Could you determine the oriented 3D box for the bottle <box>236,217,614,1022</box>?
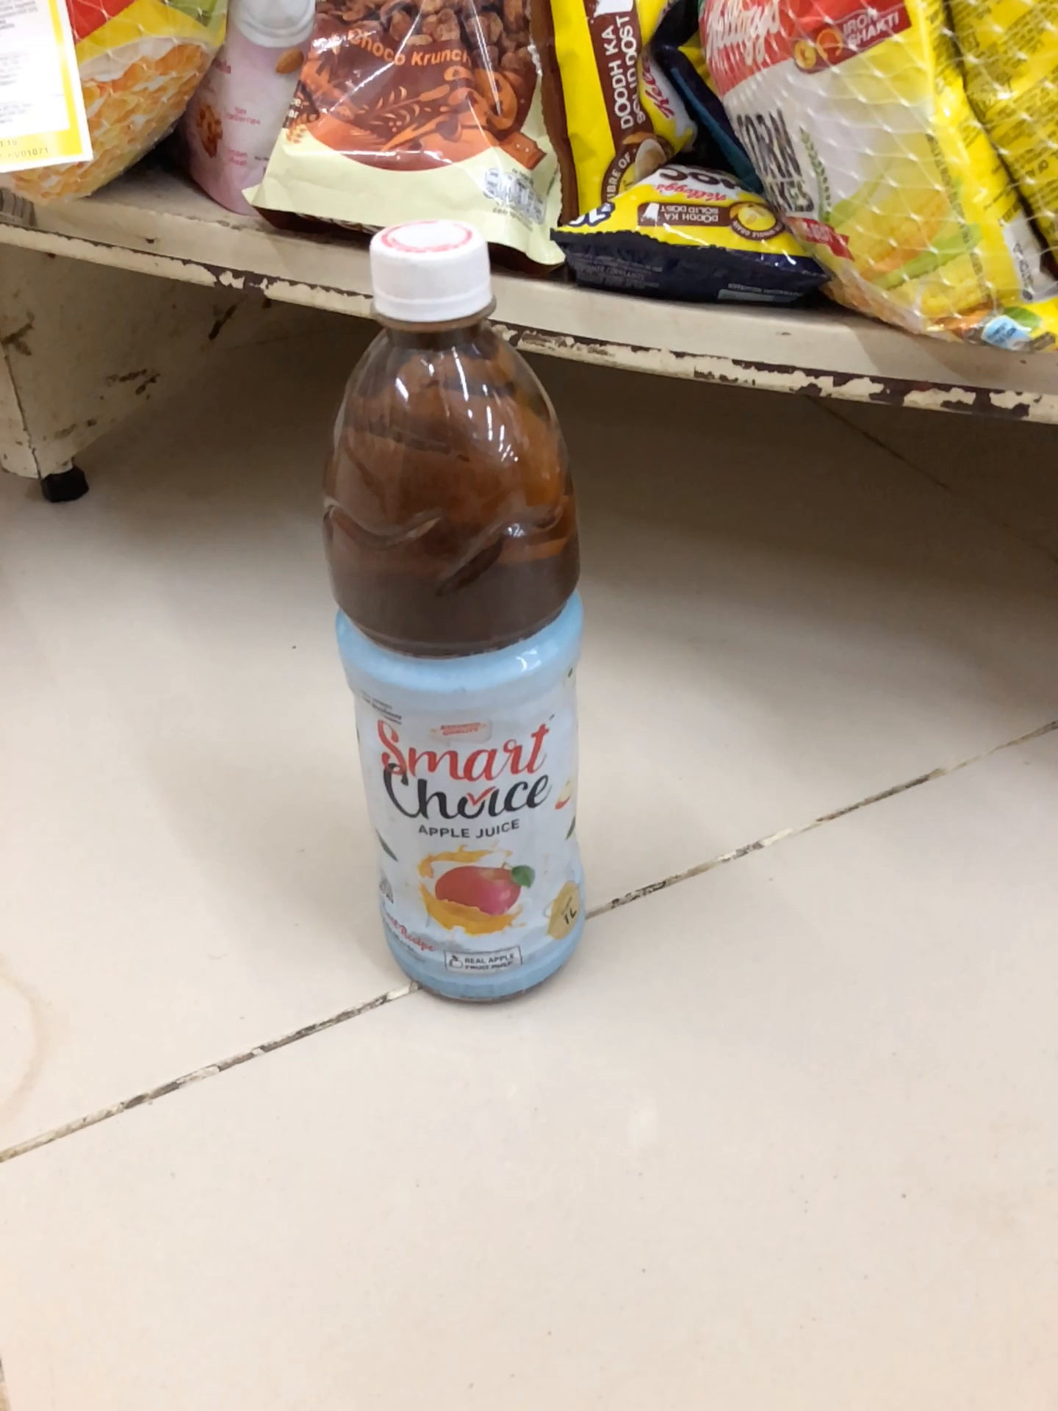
[{"bbox_3d":[-0.019,-0.012,0.367,0.080,0.248,0.081,-1,40,1],"label":"bottle"}]
